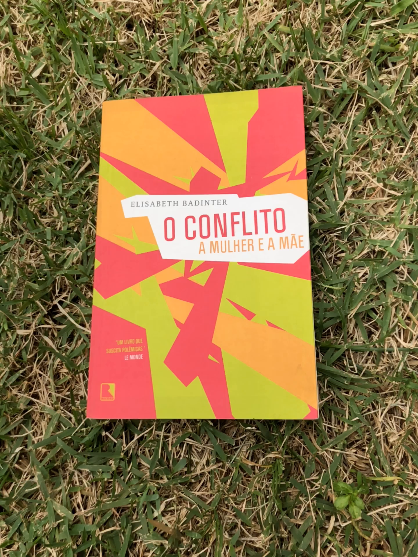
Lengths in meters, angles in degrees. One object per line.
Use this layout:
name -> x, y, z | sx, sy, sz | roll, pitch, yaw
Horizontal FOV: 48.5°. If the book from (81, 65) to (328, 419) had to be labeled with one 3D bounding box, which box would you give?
book -> -0.003, -0.024, 0.272 | 0.130, 0.020, 0.200 | -1, 78, 8
